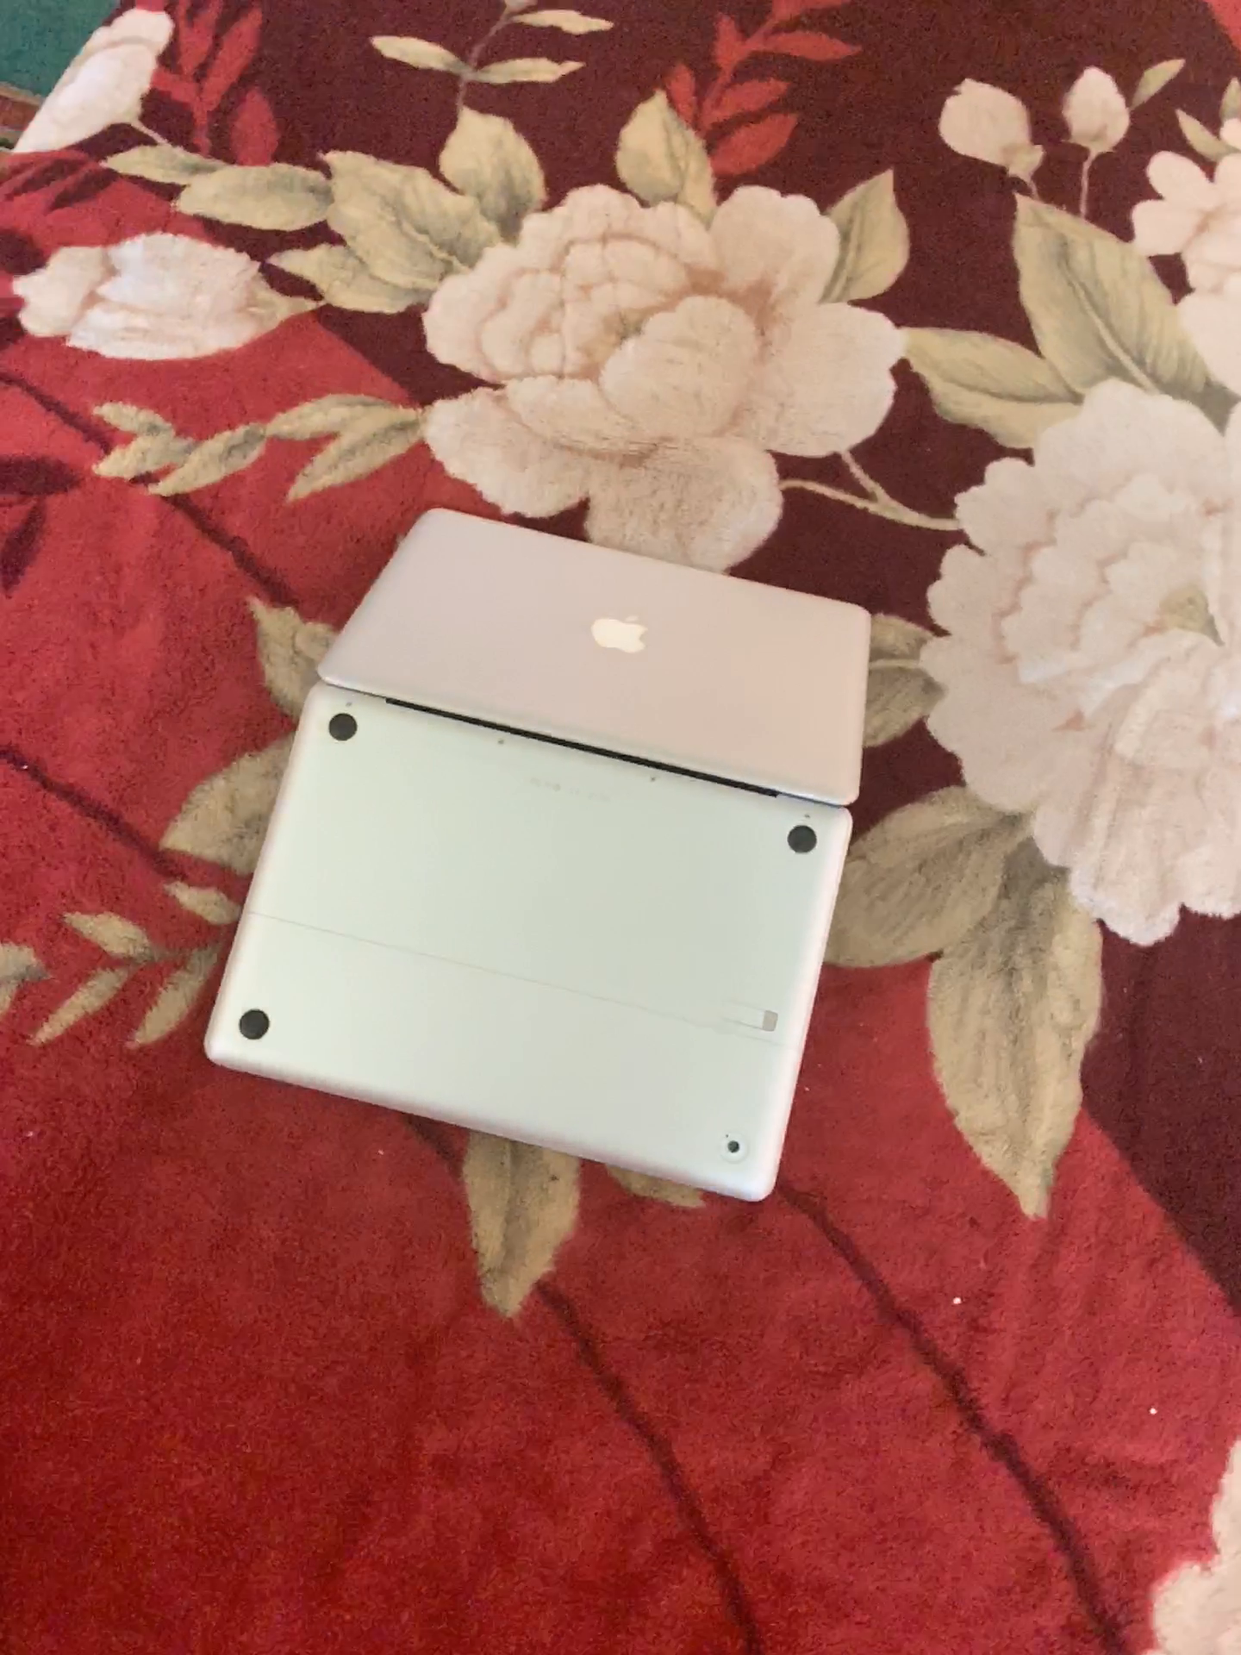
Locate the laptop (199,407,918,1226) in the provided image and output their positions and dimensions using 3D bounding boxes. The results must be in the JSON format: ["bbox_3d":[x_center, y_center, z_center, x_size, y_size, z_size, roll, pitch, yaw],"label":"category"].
[{"bbox_3d":[-0.030,-0.007,0.744,0.316,0.078,0.390,14,80,3],"label":"laptop"}]
